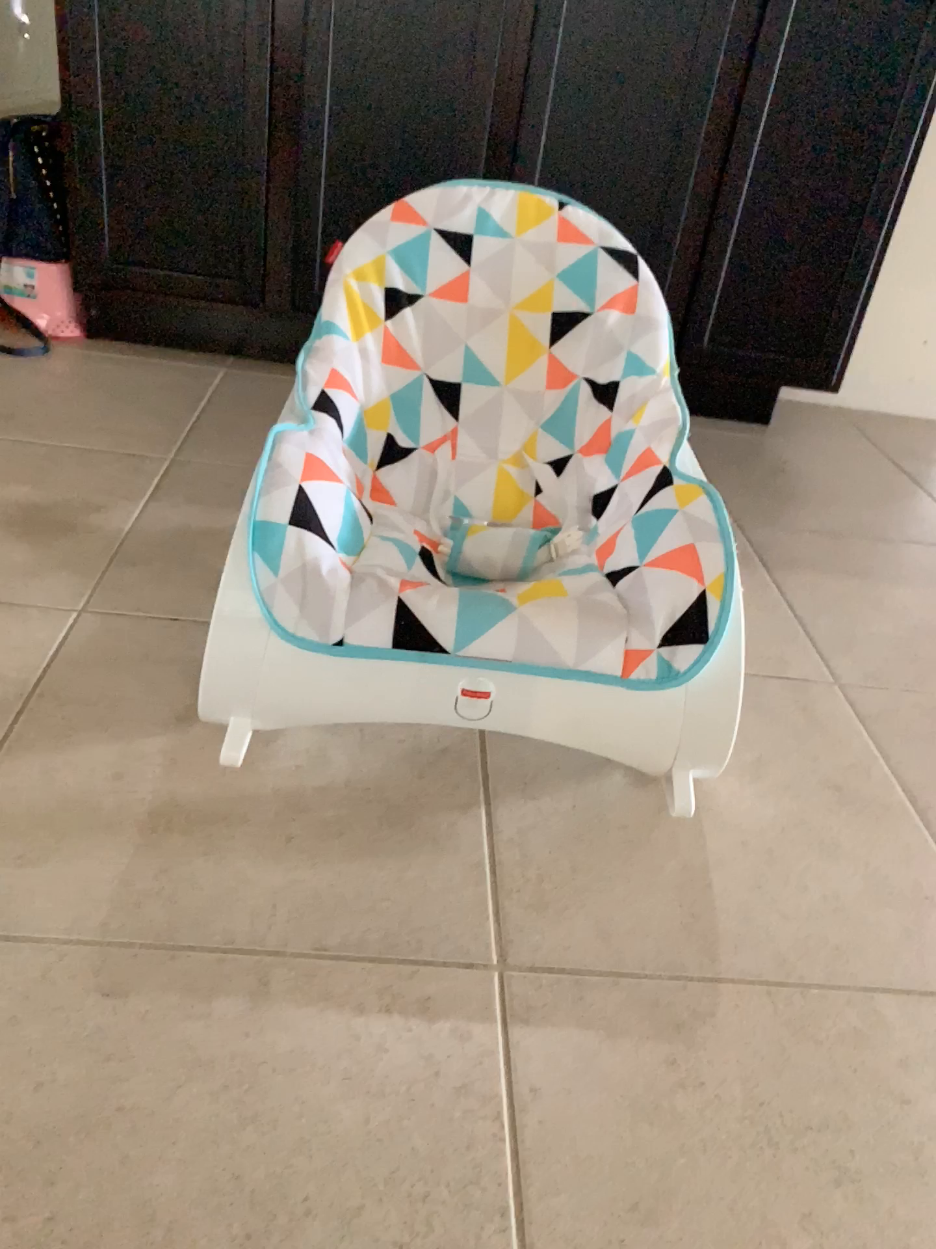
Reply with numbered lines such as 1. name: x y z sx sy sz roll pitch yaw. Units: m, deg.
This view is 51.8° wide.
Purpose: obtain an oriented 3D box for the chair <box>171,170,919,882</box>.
1. chair: 0.024 -0.176 1.109 0.530 0.485 0.738 6 31 -5
